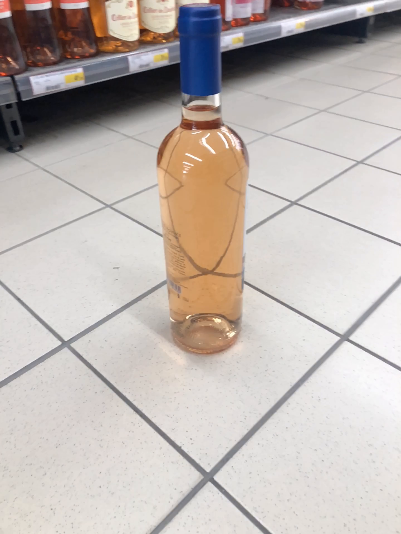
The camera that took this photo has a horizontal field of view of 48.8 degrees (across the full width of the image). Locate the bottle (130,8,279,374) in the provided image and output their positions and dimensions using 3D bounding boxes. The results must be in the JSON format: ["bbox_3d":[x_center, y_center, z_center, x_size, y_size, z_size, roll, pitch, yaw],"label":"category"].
[{"bbox_3d":[0.001,-0.045,0.370,0.080,0.288,0.080,-1,36,1],"label":"bottle"}]
